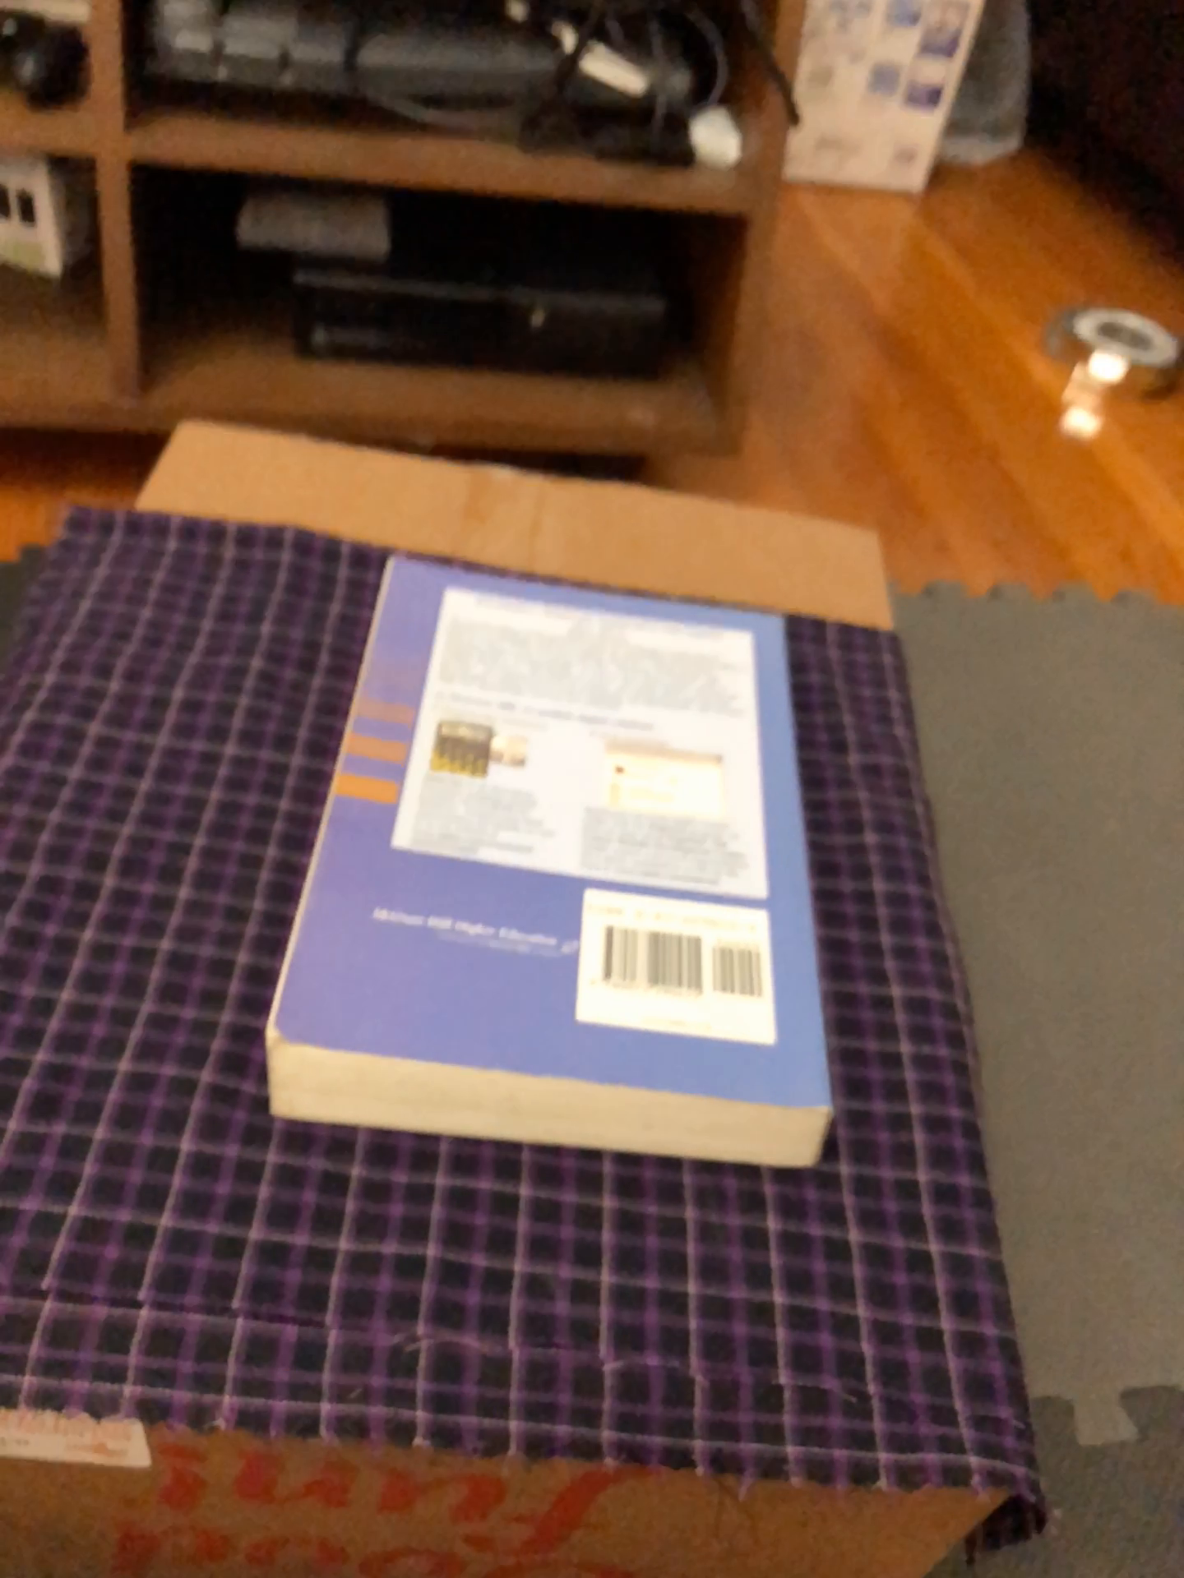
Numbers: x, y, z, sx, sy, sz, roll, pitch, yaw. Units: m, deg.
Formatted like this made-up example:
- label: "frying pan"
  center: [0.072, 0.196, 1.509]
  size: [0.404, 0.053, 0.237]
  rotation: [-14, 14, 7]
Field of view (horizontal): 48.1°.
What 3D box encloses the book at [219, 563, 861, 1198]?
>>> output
- label: "book"
  center: [-0.013, 0.017, 0.470]
  size: [0.180, 0.040, 0.241]
  rotation: [6, 44, -5]
